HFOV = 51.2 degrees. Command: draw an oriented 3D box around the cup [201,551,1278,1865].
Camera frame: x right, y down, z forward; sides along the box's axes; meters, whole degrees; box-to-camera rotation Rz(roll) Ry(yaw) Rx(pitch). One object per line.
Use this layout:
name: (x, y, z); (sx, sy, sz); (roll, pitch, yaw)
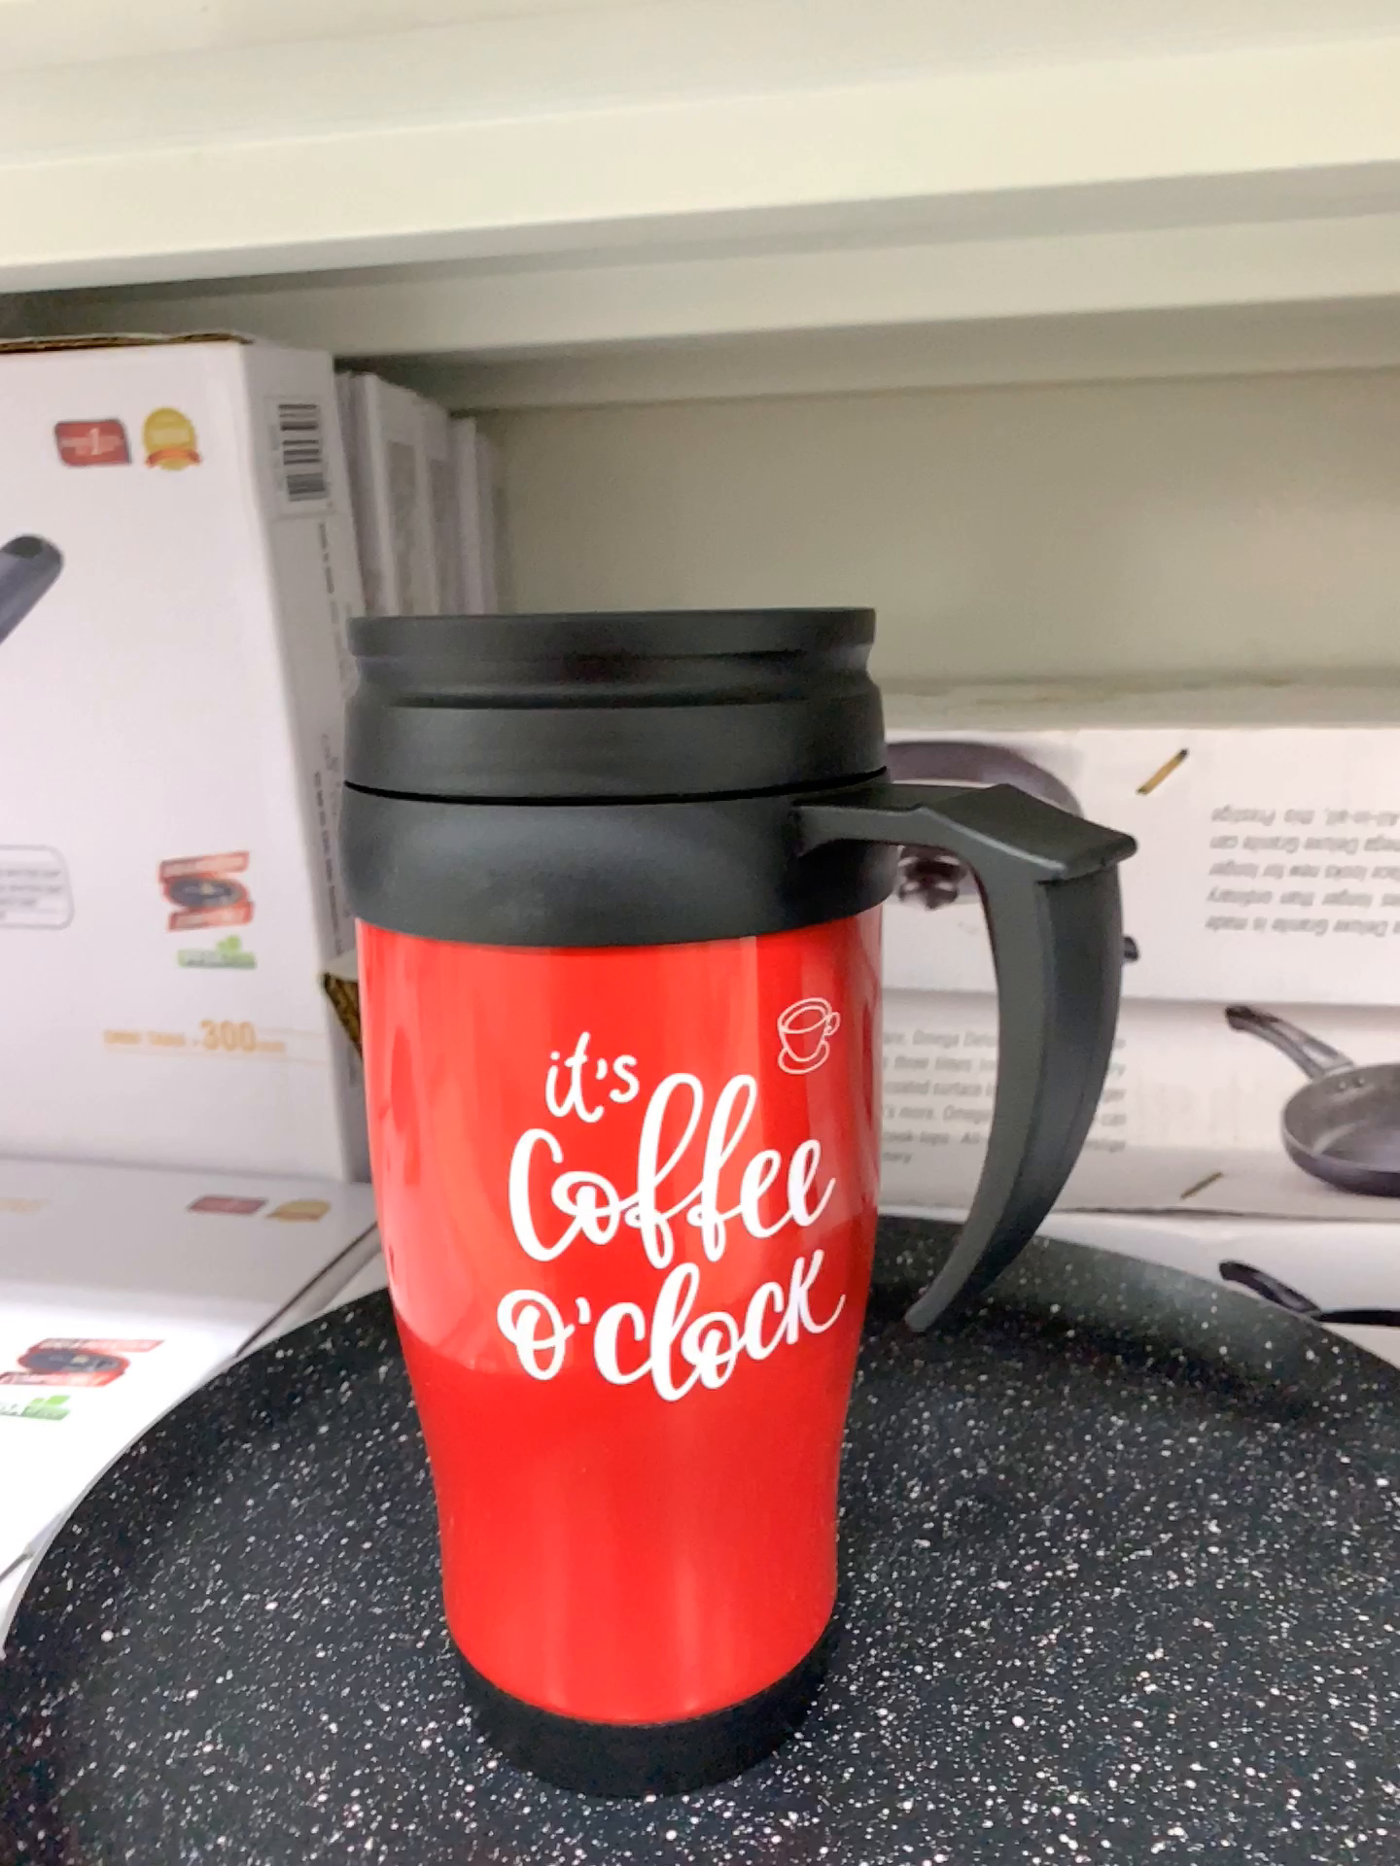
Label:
cup: (0.009, 0.035, 0.218); (0.120, 0.169, 0.090); (6, 13, 32)
